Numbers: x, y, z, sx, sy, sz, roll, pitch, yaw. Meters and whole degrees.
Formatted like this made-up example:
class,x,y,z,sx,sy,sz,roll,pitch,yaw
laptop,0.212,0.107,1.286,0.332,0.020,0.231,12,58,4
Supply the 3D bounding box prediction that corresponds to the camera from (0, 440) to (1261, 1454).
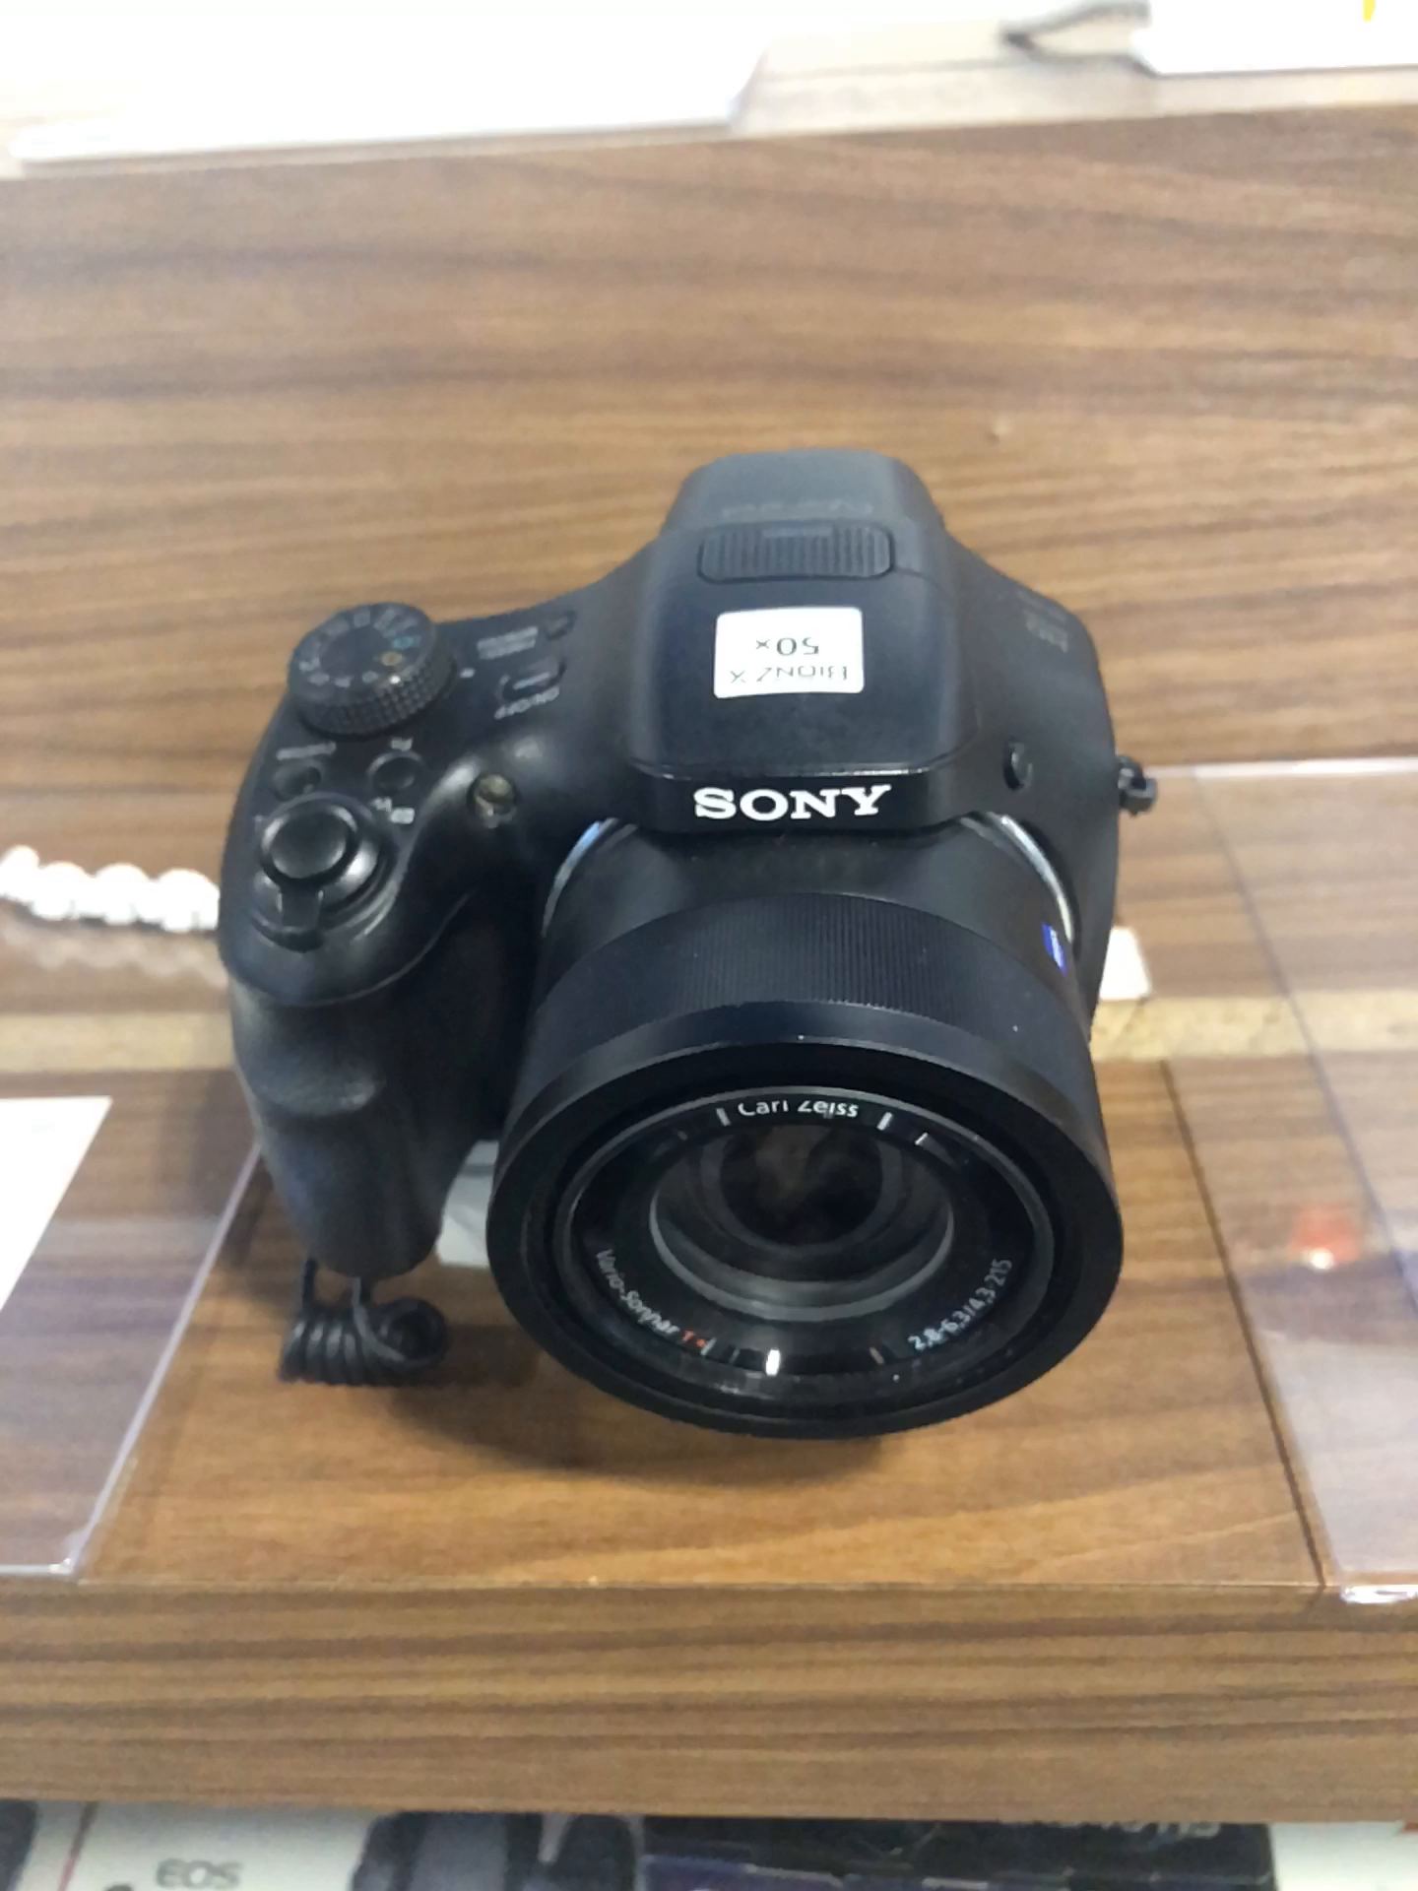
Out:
class,x,y,z,sx,sy,sz,roll,pitch,yaw
camera,-0.009,-0.007,0.212,0.125,0.084,0.110,-1,33,5
